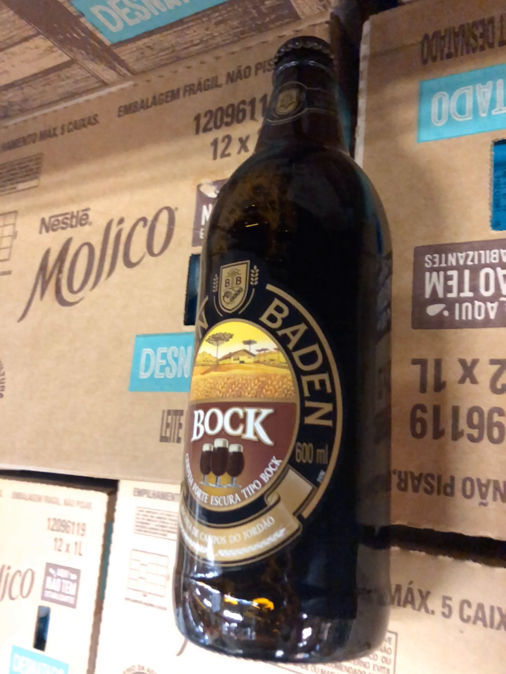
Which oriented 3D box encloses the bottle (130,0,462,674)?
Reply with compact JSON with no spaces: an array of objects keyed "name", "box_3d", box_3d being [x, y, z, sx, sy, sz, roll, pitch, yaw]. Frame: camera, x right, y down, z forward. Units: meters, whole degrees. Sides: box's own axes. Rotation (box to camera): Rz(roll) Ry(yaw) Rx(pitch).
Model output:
[{"name":"bottle","box_3d":[0.023,-0.009,0.199,0.080,0.070,0.230,-4,75,29]}]
